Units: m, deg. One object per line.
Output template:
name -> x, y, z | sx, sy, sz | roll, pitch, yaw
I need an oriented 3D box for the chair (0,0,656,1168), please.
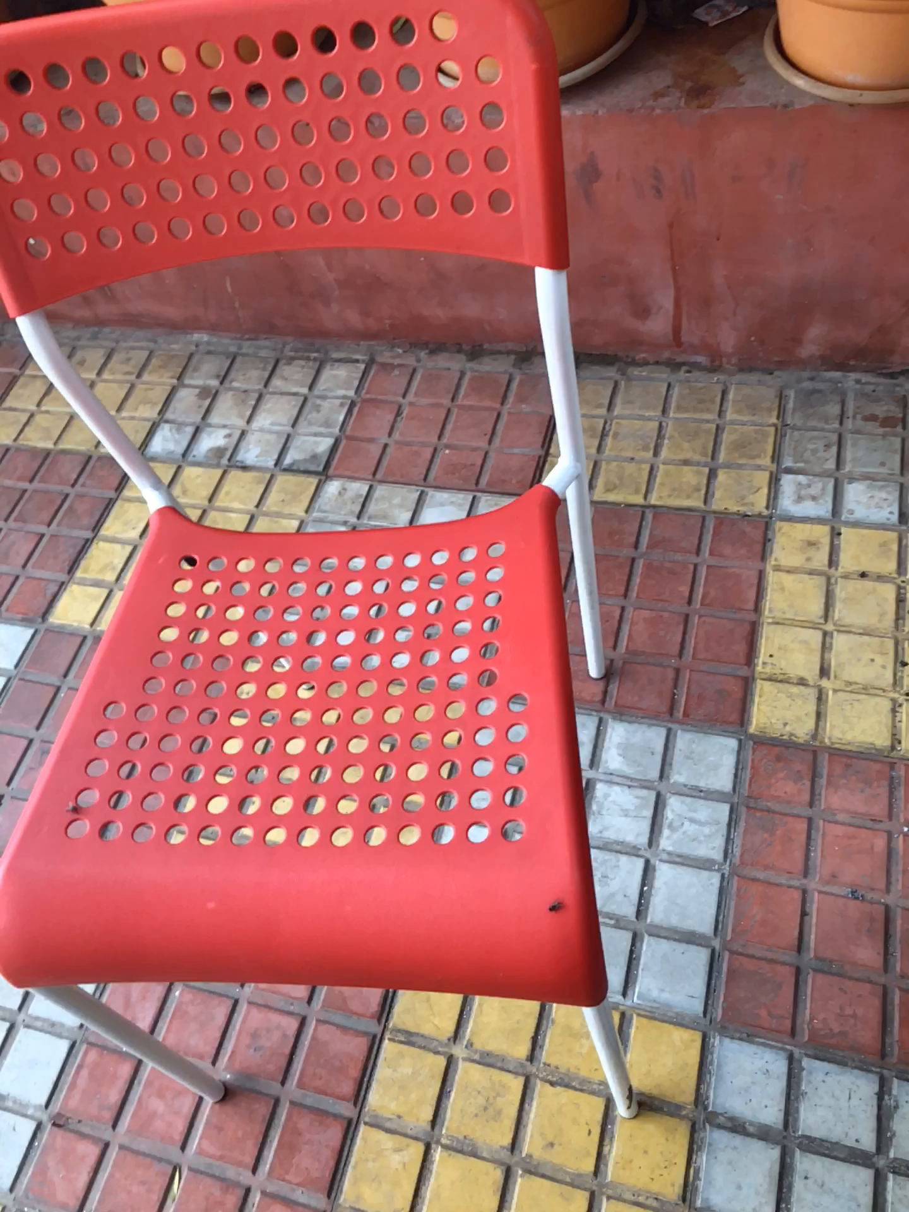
chair -> -0.095, 0.041, 0.715 | 0.450, 0.697, 0.543 | -1, 56, 10
